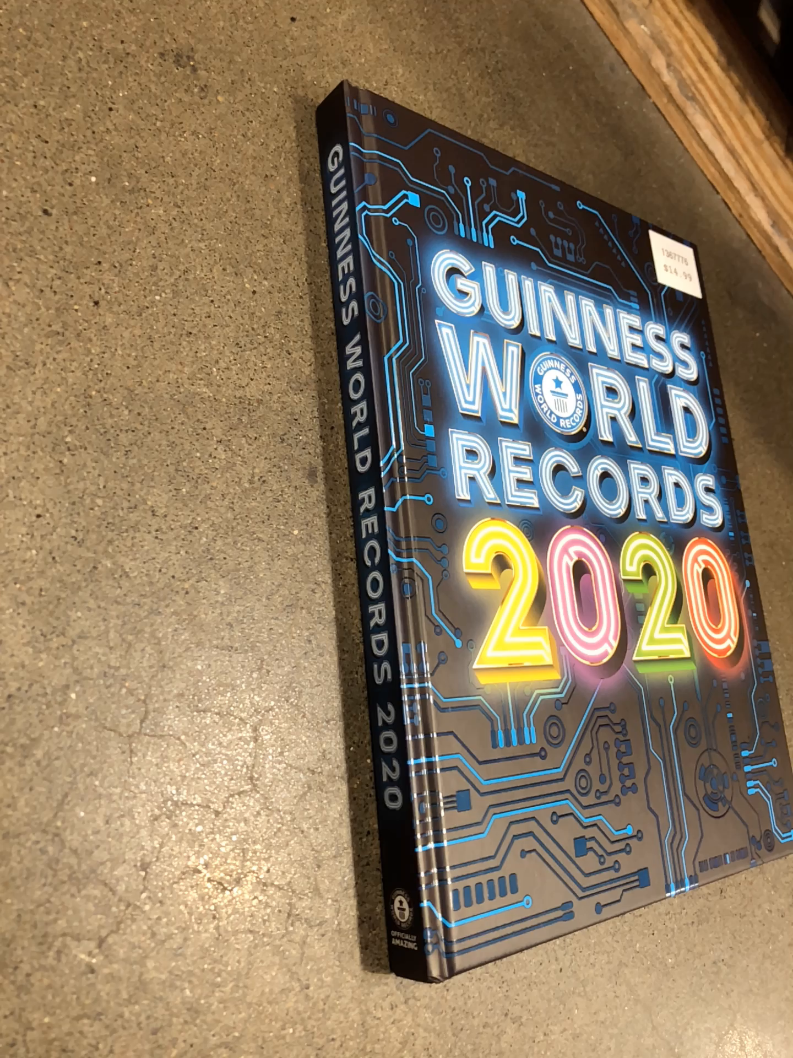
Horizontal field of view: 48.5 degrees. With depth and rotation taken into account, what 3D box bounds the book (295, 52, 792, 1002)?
[{"bbox_3d":[0.079,-0.008,0.369,0.241,0.030,0.312,4,74,-40],"label":"book"}]
